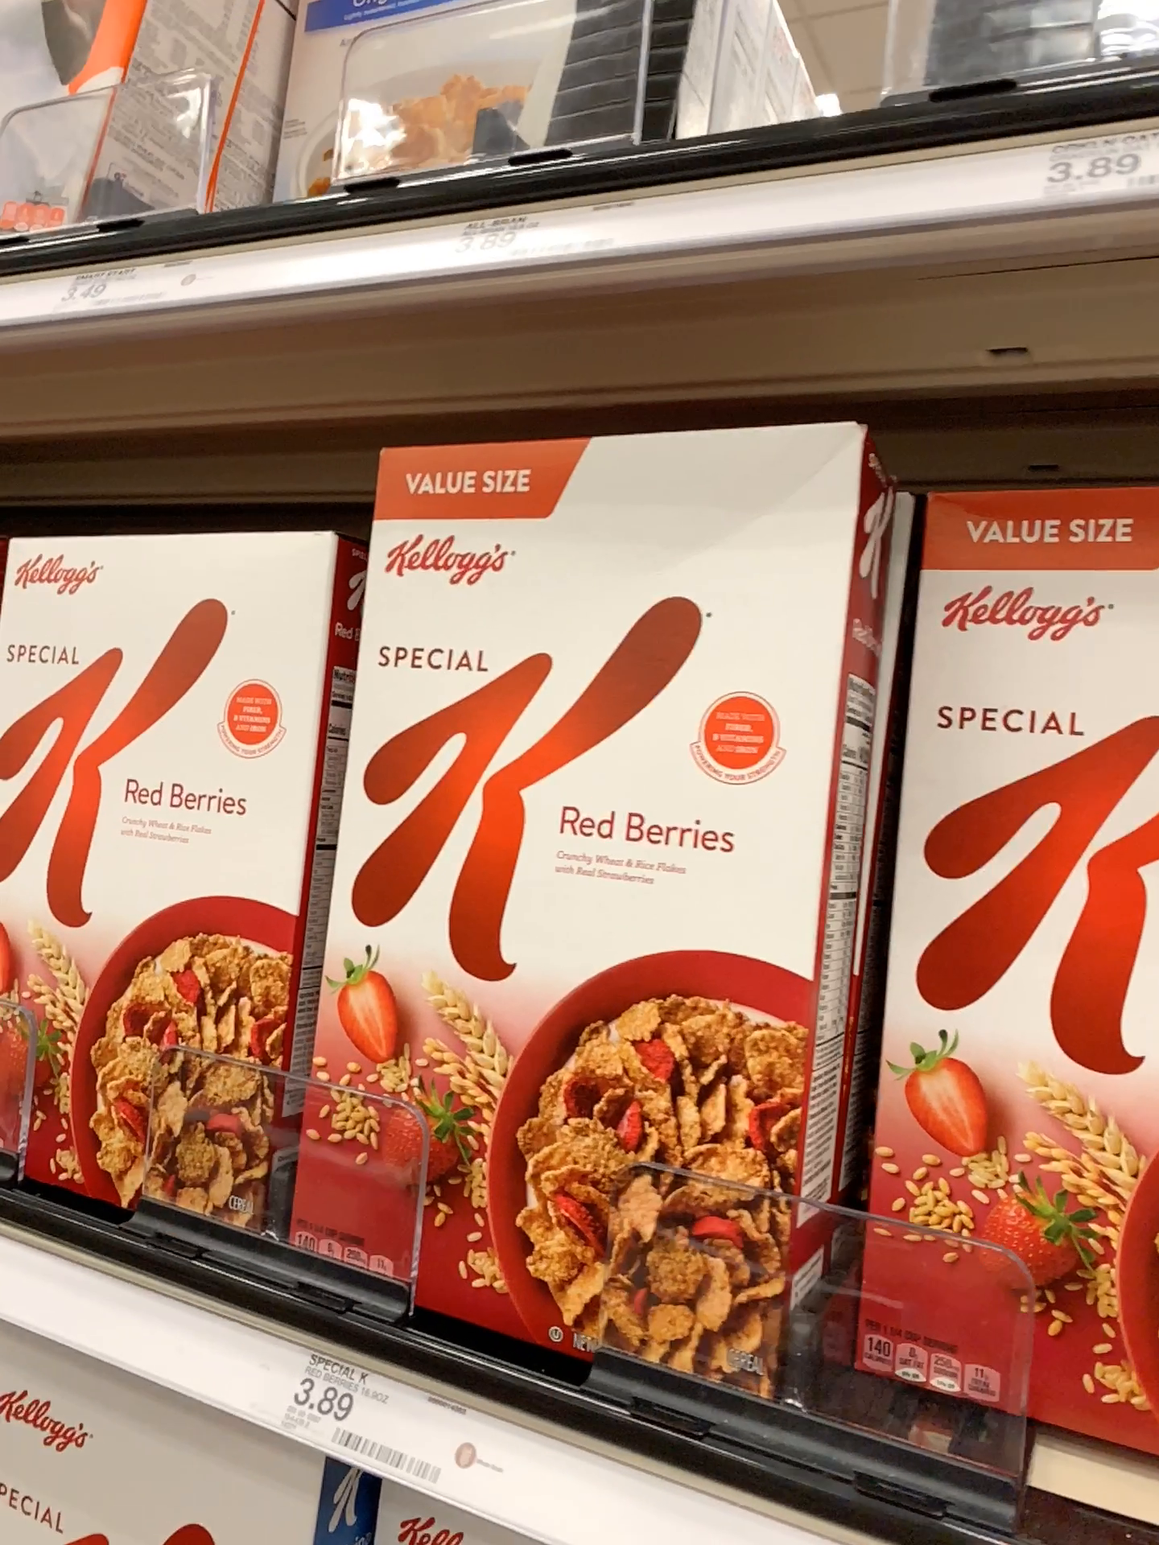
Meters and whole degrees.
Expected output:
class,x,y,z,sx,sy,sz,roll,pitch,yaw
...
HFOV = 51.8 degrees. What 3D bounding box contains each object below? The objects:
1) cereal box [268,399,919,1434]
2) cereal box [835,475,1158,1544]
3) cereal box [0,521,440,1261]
class,x,y,z,sx,sy,sz,roll,pitch,yaw
cereal box,0.002,0.035,0.438,0.200,0.320,0.060,5,-2,26
cereal box,0.211,0.069,0.414,0.200,0.330,0.060,5,-2,24
cereal box,-0.180,0.038,0.536,0.200,0.290,0.060,5,-2,24
